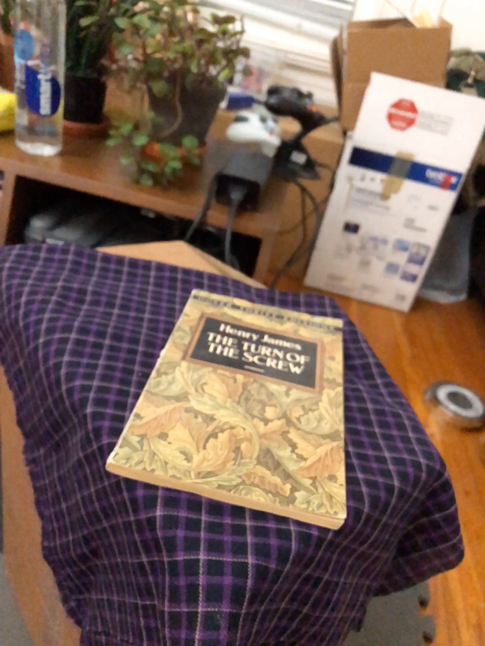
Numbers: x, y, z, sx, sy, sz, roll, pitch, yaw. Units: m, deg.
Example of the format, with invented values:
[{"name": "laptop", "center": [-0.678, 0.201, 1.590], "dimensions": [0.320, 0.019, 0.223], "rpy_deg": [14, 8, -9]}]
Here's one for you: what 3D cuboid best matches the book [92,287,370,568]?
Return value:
[{"name": "book", "center": [0.008, 0.046, 0.364], "dimensions": [0.140, 0.010, 0.221], "rpy_deg": [14, 31, 1]}]
